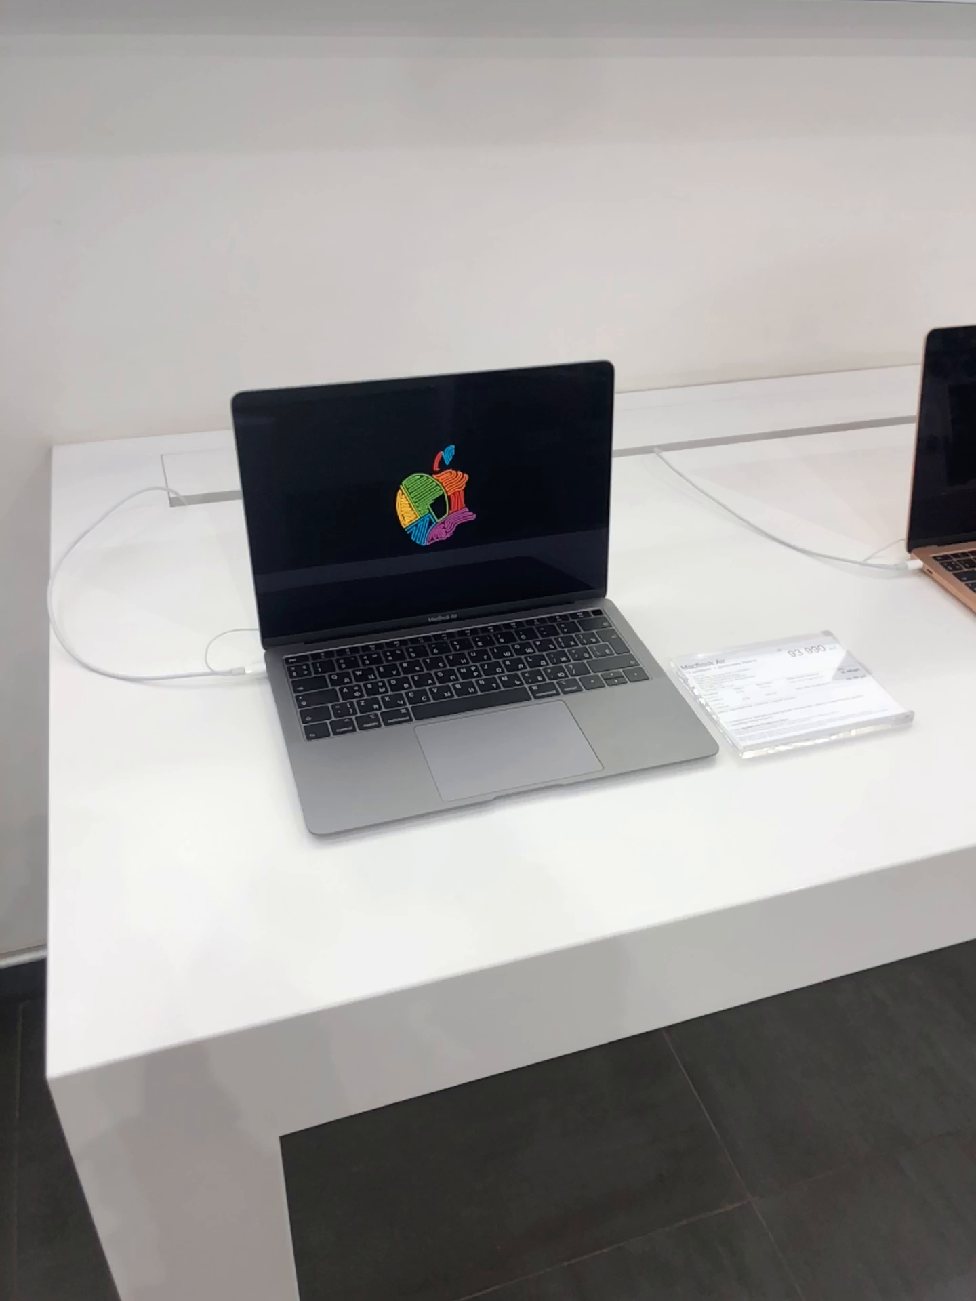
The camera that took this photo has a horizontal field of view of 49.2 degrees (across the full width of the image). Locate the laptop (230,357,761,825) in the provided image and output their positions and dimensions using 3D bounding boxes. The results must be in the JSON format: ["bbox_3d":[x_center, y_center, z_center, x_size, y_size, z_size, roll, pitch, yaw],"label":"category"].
[{"bbox_3d":[-0.012,-0.060,0.774,0.285,0.194,0.251,-9,38,-17],"label":"laptop"}]

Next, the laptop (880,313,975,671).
[{"bbox_3d":[0.559,-0.155,0.936,0.293,0.184,0.261,-8,36,-15],"label":"laptop"}]
